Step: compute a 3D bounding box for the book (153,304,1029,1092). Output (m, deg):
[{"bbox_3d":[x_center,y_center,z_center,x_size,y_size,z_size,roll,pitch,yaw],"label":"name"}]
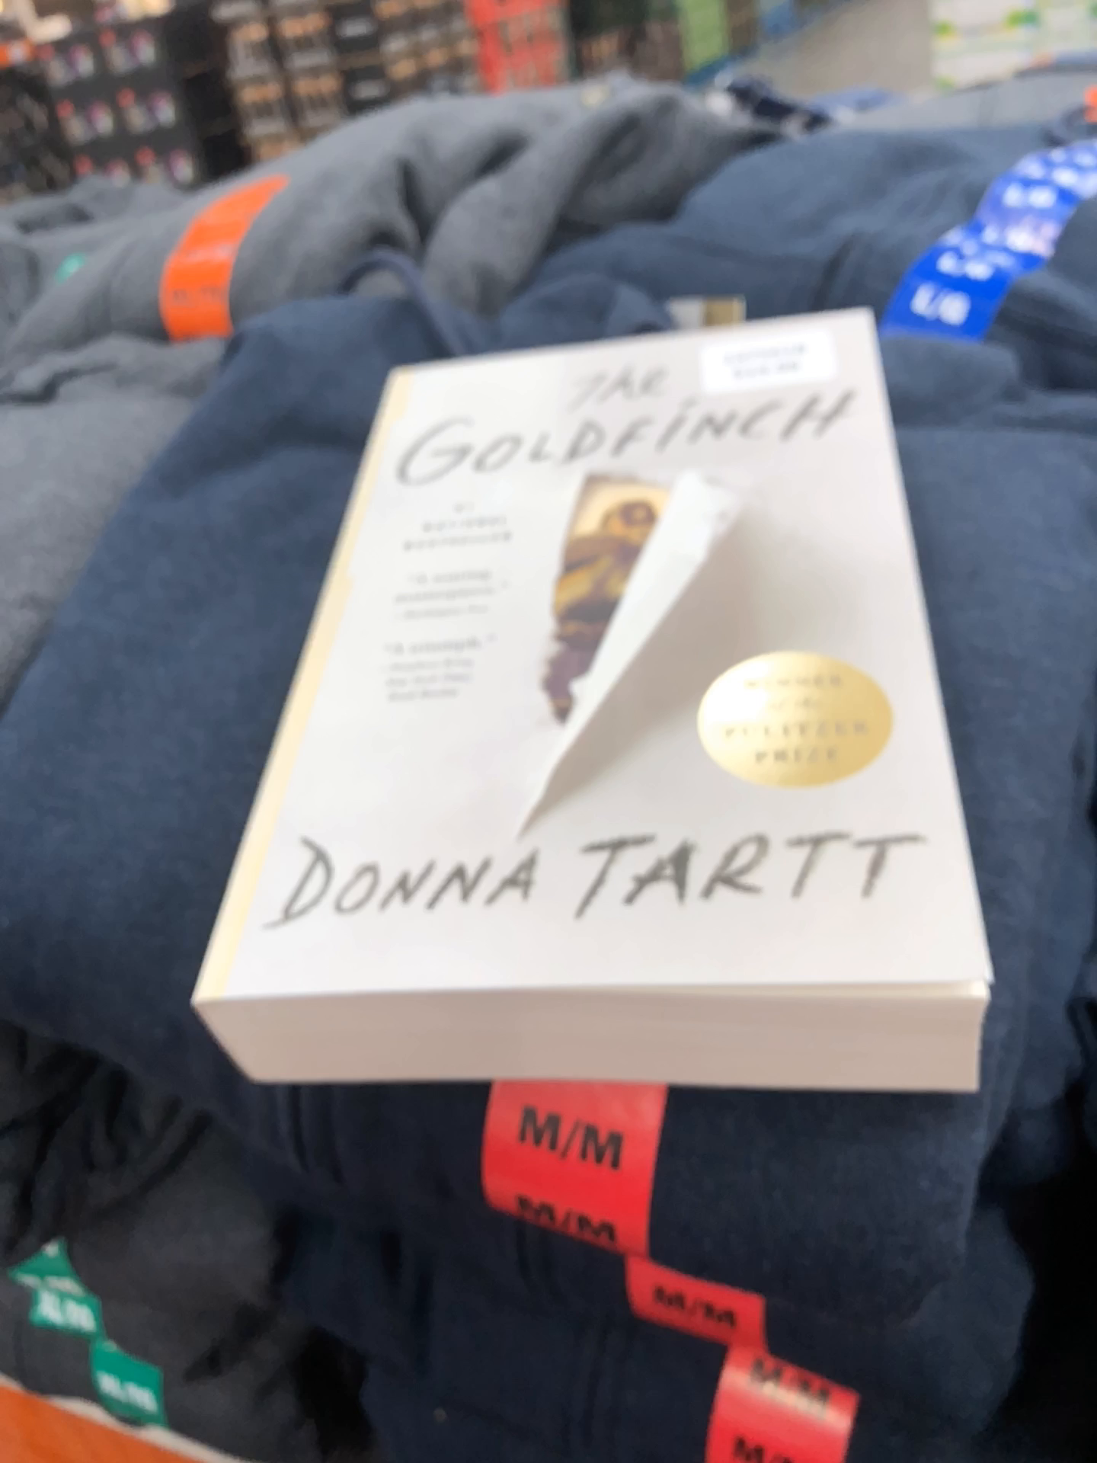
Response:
[{"bbox_3d":[0.015,-0.023,0.312,0.158,0.041,0.222,-4,46,11],"label":"book"}]
